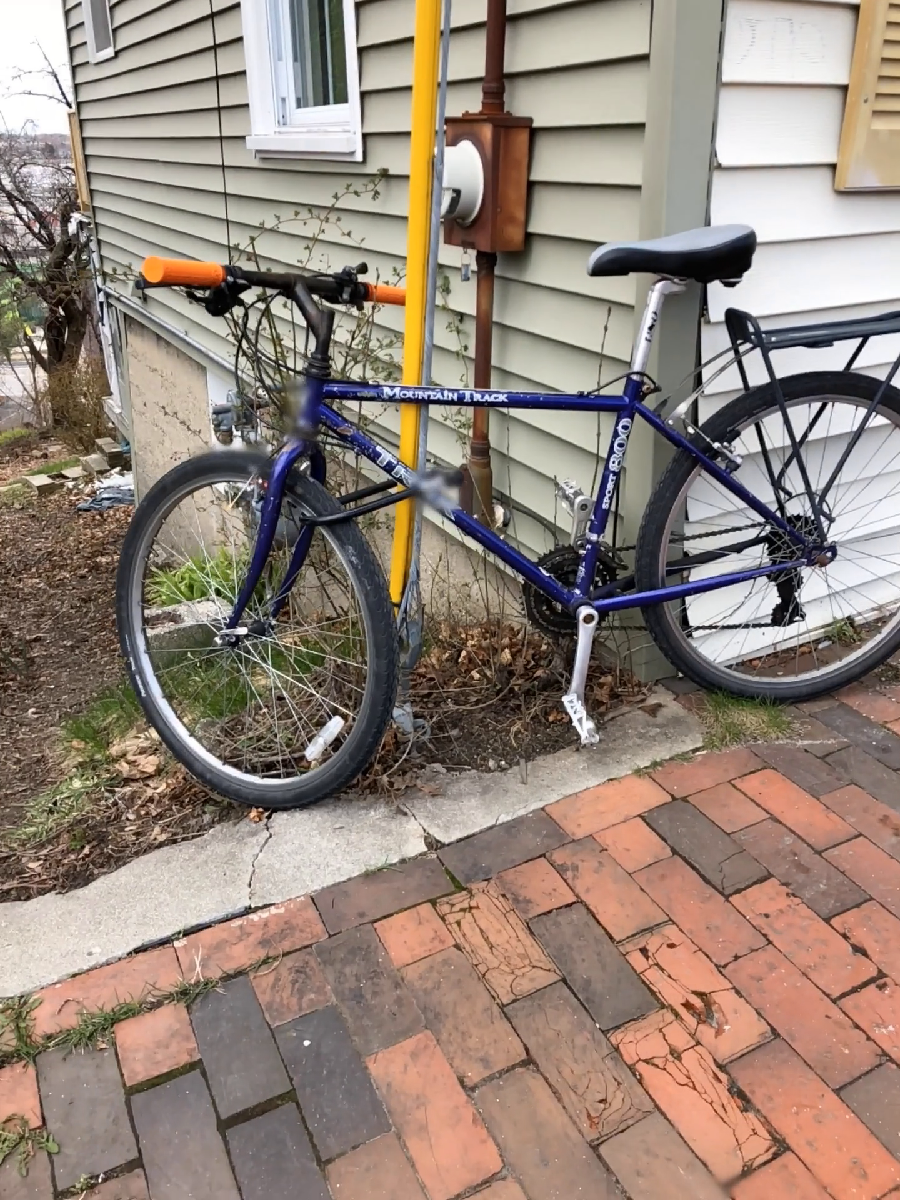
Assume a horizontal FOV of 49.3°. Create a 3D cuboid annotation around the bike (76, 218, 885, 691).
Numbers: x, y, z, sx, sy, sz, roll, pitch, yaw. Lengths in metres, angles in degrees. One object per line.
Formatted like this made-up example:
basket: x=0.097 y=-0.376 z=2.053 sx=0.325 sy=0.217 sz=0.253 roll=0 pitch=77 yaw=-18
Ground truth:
bike: x=-0.023 y=-0.281 z=1.764 sx=1.146 sy=0.690 sz=0.515 roll=0 pitch=25 yaw=4
